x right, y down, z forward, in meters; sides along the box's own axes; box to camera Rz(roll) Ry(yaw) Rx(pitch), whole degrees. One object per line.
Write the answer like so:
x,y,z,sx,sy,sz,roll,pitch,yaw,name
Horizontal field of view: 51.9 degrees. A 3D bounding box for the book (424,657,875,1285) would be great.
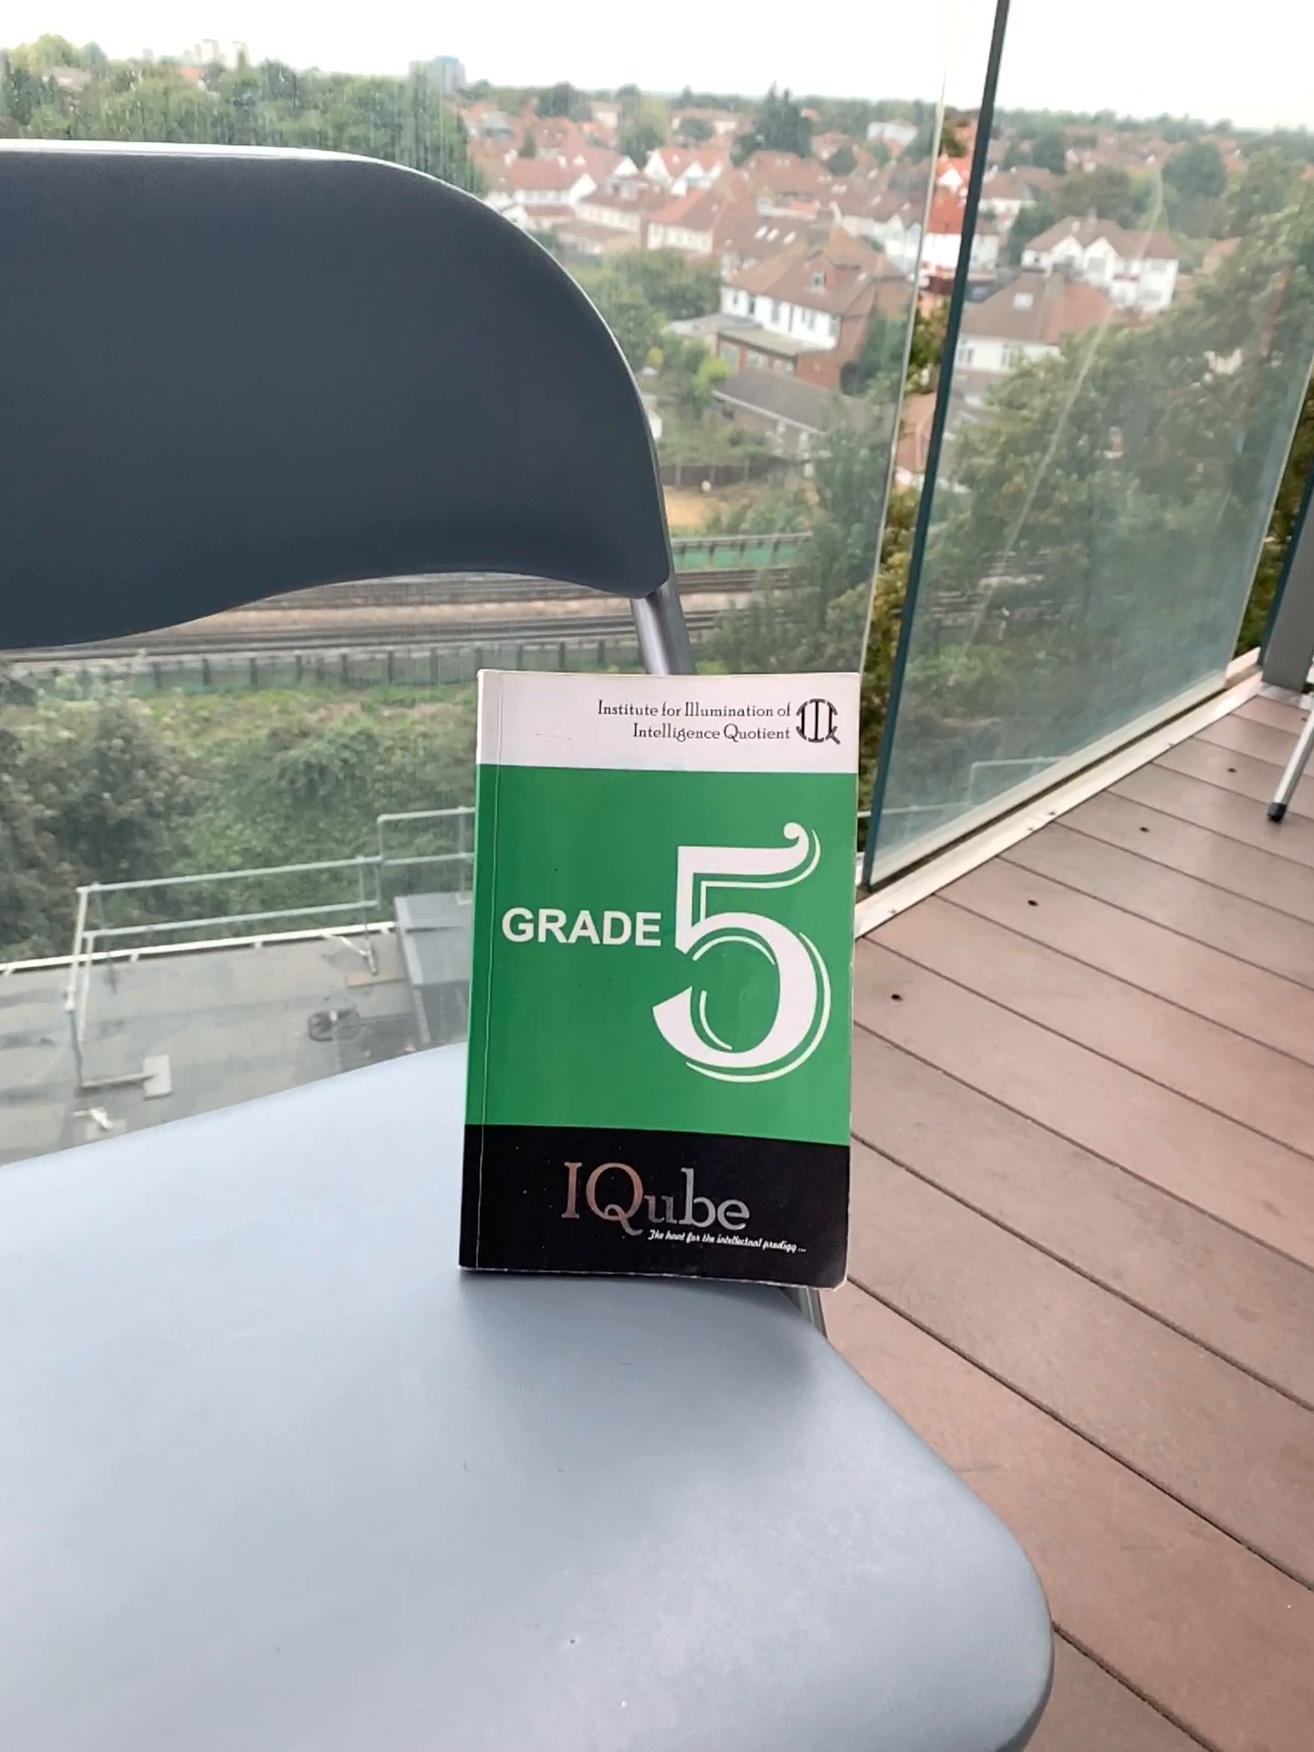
-0.001,0.031,0.479,0.150,0.210,0.040,1,-4,3,book
